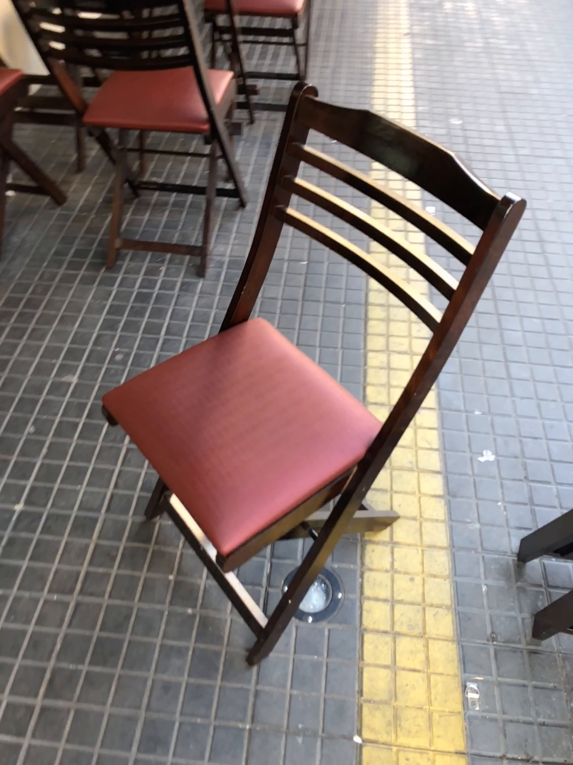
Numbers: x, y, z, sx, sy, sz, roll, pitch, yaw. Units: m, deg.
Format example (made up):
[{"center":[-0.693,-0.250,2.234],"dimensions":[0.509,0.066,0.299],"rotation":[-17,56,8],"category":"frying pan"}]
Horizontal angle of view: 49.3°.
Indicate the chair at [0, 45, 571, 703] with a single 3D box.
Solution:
[{"center":[-0.028,0.031,1.032],"dimensions":[0.481,0.844,0.512],"rotation":[-31,55,-23],"category":"chair"}]
